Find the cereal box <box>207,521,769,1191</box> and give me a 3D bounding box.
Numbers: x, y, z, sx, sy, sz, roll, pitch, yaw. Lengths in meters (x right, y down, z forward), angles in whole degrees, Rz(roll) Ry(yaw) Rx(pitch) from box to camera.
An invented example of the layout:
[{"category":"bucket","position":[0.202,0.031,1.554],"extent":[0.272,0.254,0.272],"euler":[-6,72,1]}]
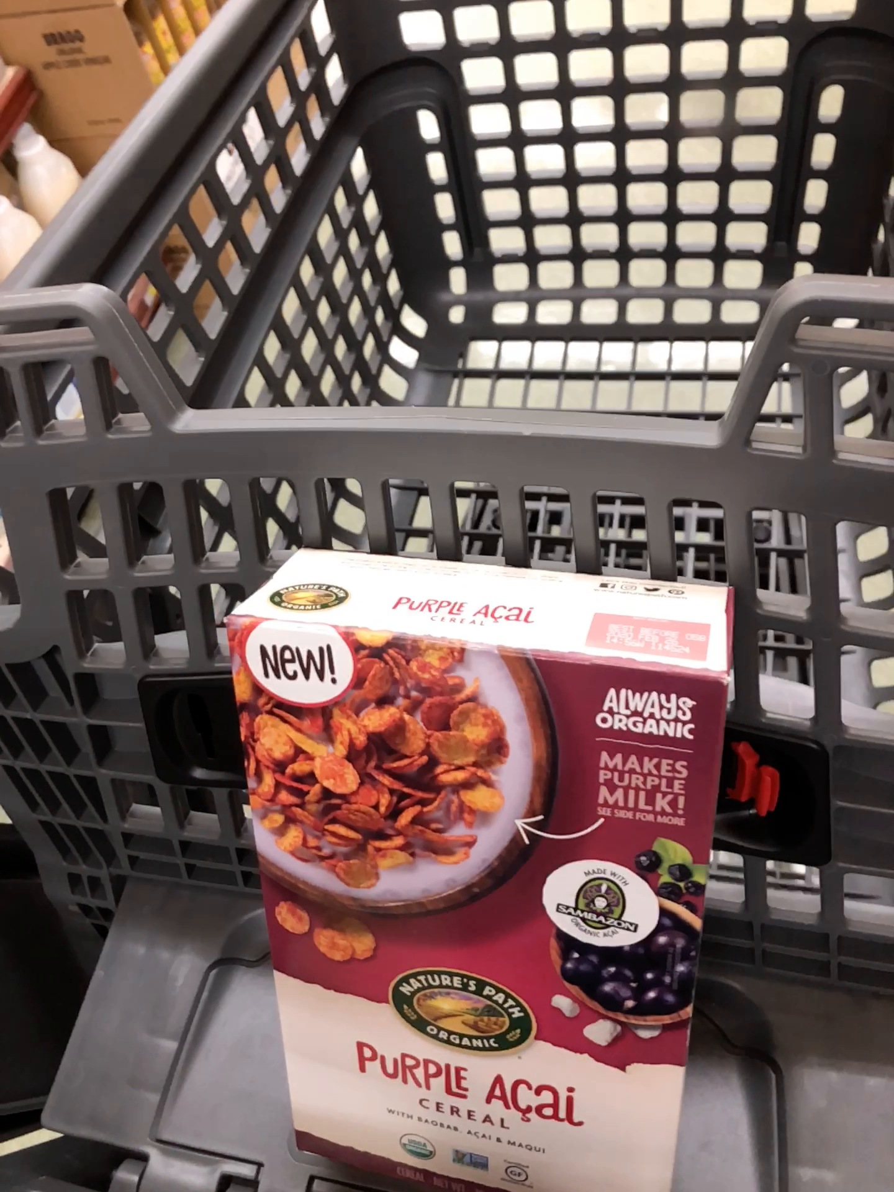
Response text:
[{"category":"cereal box","position":[0.017,0.117,0.381],"extent":[0.170,0.270,0.070],"euler":[6,27,14]}]
